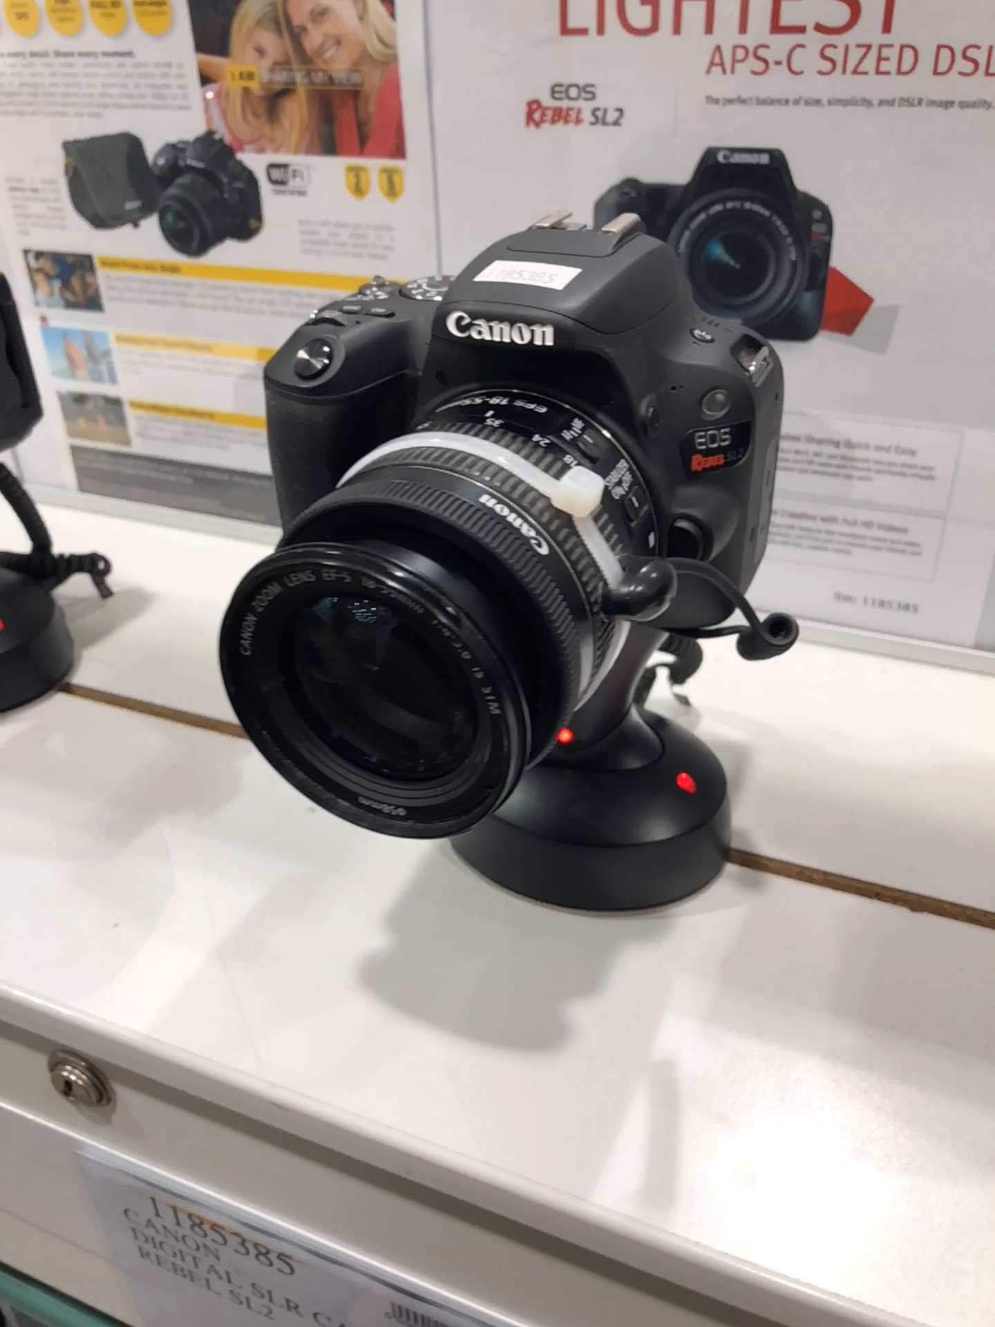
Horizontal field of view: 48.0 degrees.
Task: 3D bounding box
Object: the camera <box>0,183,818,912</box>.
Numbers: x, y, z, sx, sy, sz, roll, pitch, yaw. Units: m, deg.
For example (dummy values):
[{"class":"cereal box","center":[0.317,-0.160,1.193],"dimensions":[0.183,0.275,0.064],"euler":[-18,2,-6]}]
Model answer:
[{"class":"camera","center":[-0.012,-0.042,0.245],"dimensions":[0.130,0.090,0.140],"euler":[11,35,19]}]
